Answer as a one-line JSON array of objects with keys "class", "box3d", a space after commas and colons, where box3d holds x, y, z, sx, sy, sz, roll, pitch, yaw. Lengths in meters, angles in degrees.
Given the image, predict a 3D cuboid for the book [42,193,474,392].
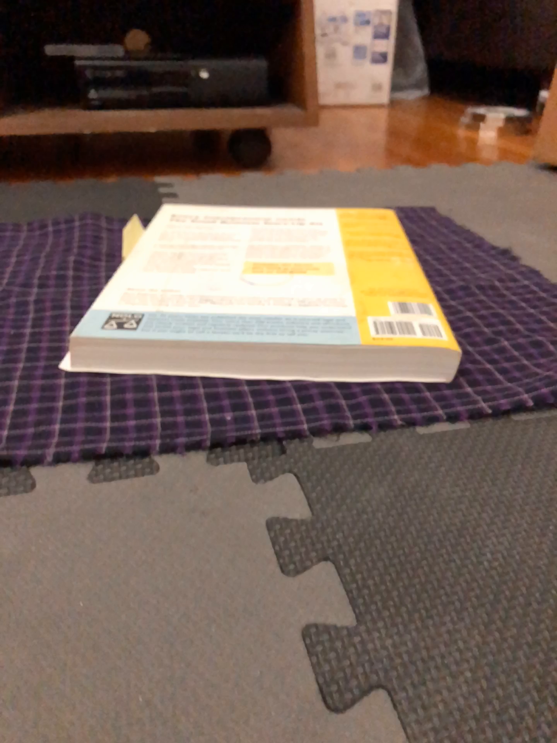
[{"class": "book", "box3d": [-0.007, -0.081, 0.475, 0.230, 0.030, 0.312, 2, 29, 1]}]
